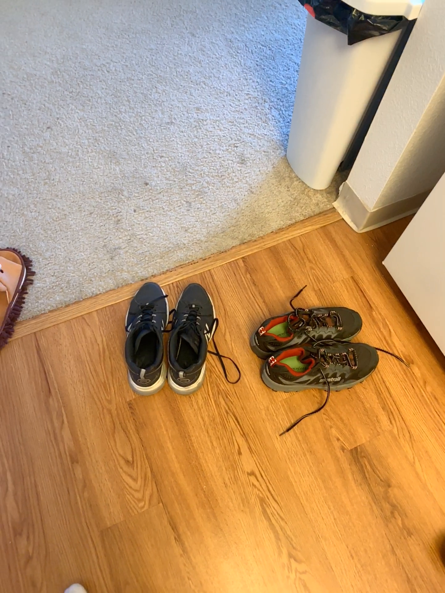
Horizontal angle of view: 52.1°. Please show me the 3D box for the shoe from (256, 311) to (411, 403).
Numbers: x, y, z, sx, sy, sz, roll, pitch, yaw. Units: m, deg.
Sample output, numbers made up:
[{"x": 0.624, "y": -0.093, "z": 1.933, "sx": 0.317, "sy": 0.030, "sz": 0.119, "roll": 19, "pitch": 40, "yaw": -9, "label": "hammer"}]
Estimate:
[{"x": 0.264, "y": 0.156, "z": 1.150, "sx": 0.320, "sy": 0.180, "sz": 0.140, "roll": -7, "pitch": 64, "yaw": -6, "label": "shoe"}]

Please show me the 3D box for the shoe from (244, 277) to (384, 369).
[{"x": 0.225, "y": 0.072, "z": 1.173, "sx": 0.300, "sy": 0.170, "sz": 0.120, "roll": -12, "pitch": 65, "yaw": -9, "label": "shoe"}]

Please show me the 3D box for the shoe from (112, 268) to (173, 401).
[{"x": -0.197, "y": 0.094, "z": 1.159, "sx": 0.130, "sy": 0.120, "sz": 0.311, "roll": -2, "pitch": 63, "yaw": -4, "label": "shoe"}]

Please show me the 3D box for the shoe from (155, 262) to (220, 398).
[{"x": -0.081, "y": 0.081, "z": 1.126, "sx": 0.120, "sy": 0.130, "sz": 0.301, "roll": 5, "pitch": 63, "yaw": -1, "label": "shoe"}]
